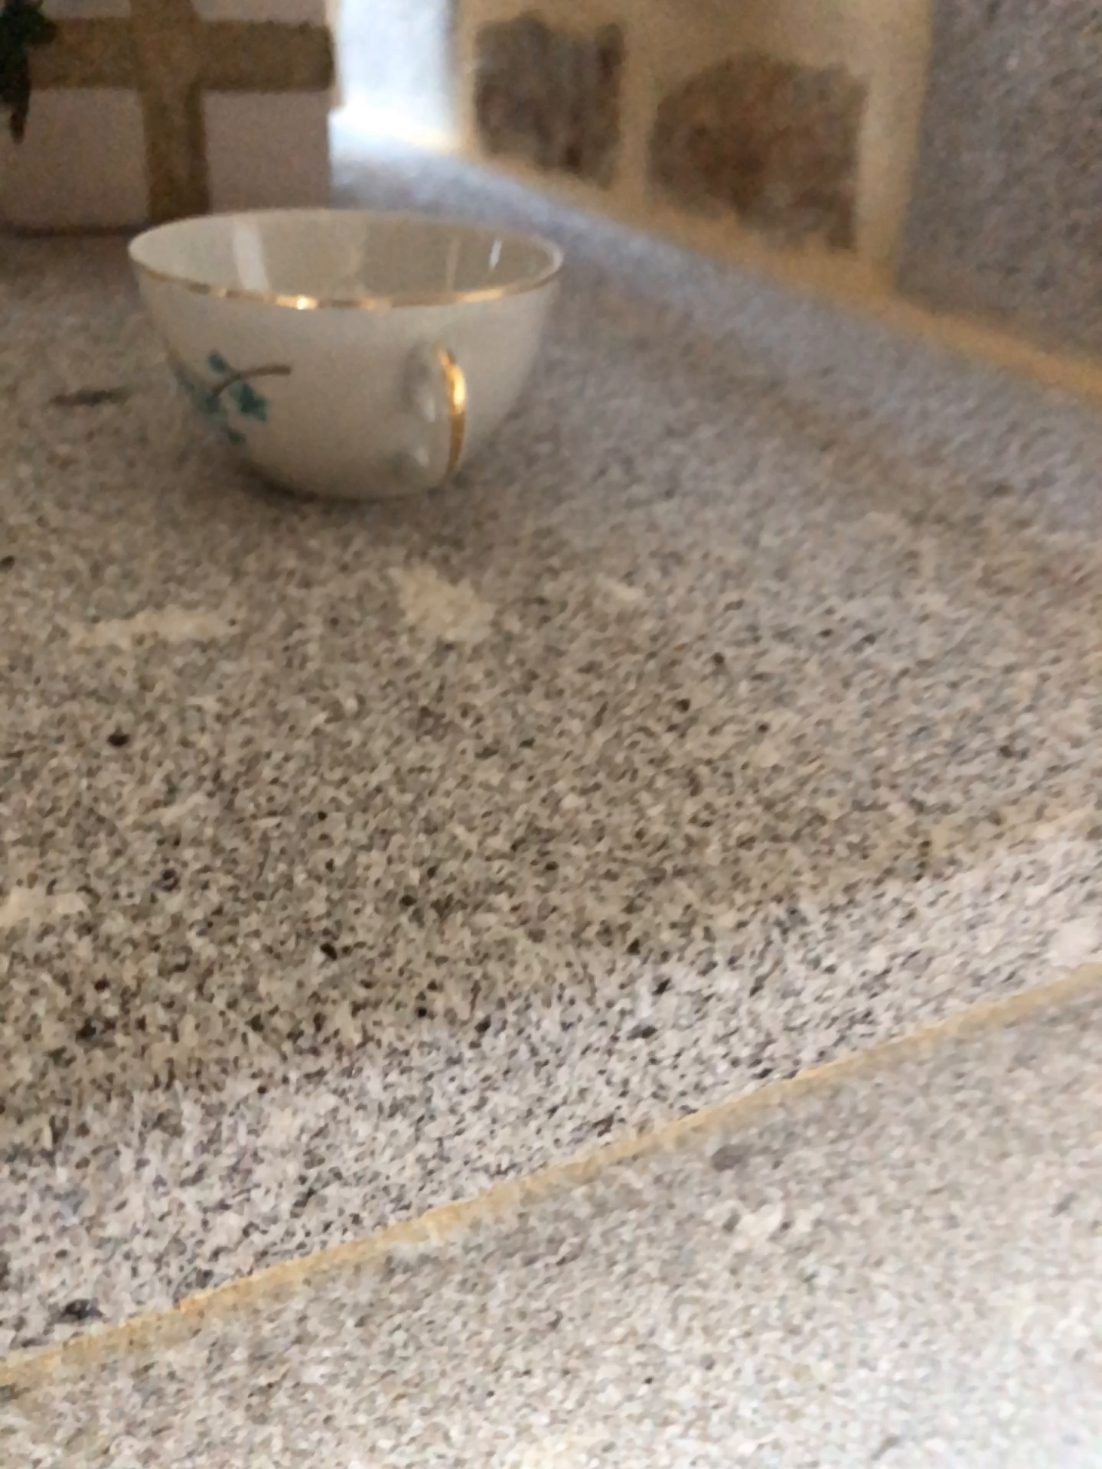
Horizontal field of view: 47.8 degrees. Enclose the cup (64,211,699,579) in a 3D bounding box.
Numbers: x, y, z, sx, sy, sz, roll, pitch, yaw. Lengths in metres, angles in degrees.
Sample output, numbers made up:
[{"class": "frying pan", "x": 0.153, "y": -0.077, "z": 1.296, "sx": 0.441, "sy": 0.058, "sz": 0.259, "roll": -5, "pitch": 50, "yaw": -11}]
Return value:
[{"class": "cup", "x": -0.040, "y": -0.081, "z": 0.268, "sx": 0.090, "sy": 0.040, "sz": 0.110, "roll": -17, "pitch": 37, "yaw": -30}]
